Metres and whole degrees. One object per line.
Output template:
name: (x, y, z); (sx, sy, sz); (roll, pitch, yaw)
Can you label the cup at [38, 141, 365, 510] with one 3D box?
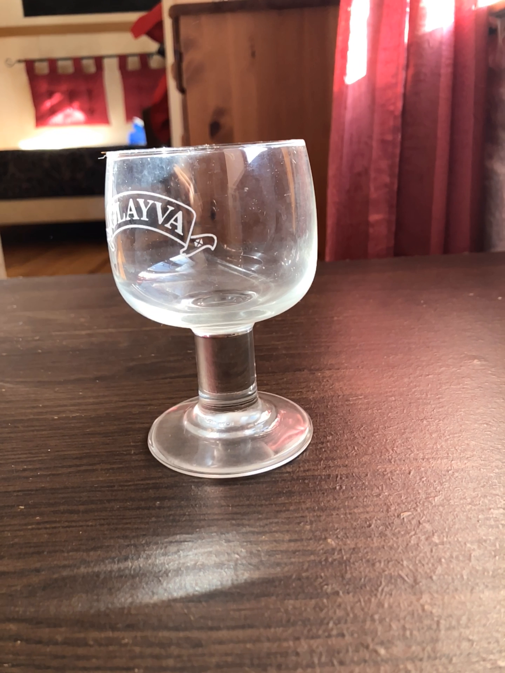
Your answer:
cup: (-0.012, -0.015, 0.212); (0.077, 0.107, 0.086); (10, 21, 32)
